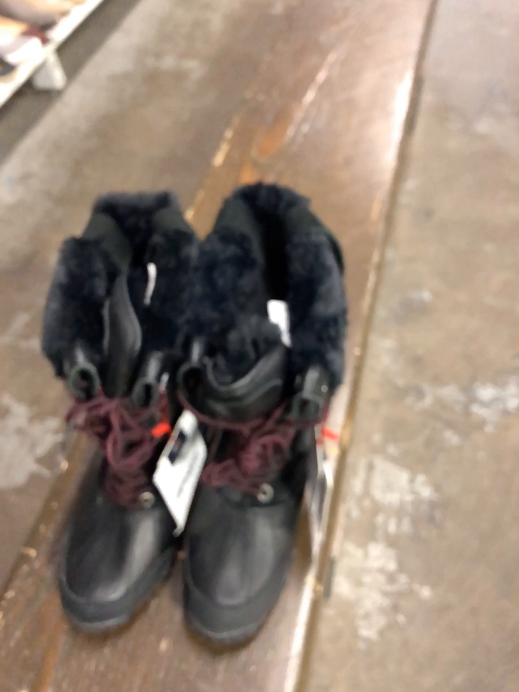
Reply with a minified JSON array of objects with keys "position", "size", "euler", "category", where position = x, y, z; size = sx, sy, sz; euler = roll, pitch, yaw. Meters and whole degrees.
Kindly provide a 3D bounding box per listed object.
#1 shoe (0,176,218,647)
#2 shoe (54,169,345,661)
[{"position":[-0.115,0.059,0.421],"size":[0.100,0.258,0.221],"euler":[7,53,8],"category":"shoe"},{"position":[-0.012,0.059,0.413],"size":[0.100,0.258,0.232],"euler":[7,53,8],"category":"shoe"}]
